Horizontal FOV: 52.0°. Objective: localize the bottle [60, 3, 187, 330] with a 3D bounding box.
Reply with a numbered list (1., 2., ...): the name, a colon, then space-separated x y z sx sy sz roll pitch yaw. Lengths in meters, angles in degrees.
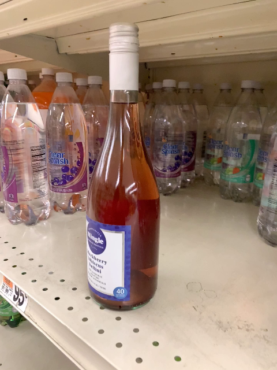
1. bottle: -0.016 -0.010 0.311 0.080 0.299 0.090 -15 23 -42
